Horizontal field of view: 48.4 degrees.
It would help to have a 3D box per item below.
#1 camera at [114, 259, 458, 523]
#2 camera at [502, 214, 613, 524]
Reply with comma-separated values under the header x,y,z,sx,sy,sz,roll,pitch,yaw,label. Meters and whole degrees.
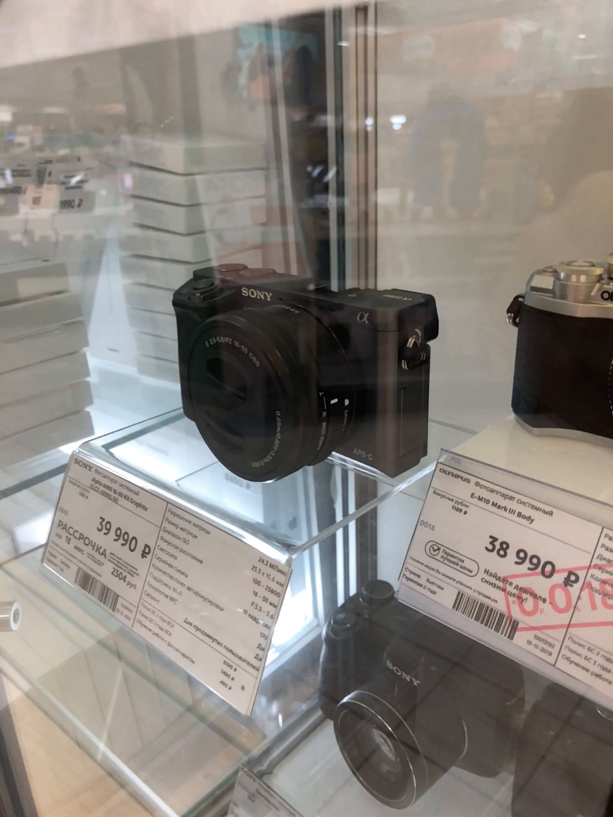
x,y,z,sx,sy,sz,roll,pitch,yaw,label
-0.012,-0.018,0.285,0.130,0.070,0.066,17,29,42,camera
0.157,-0.028,0.268,0.123,0.081,0.087,17,29,42,camera
